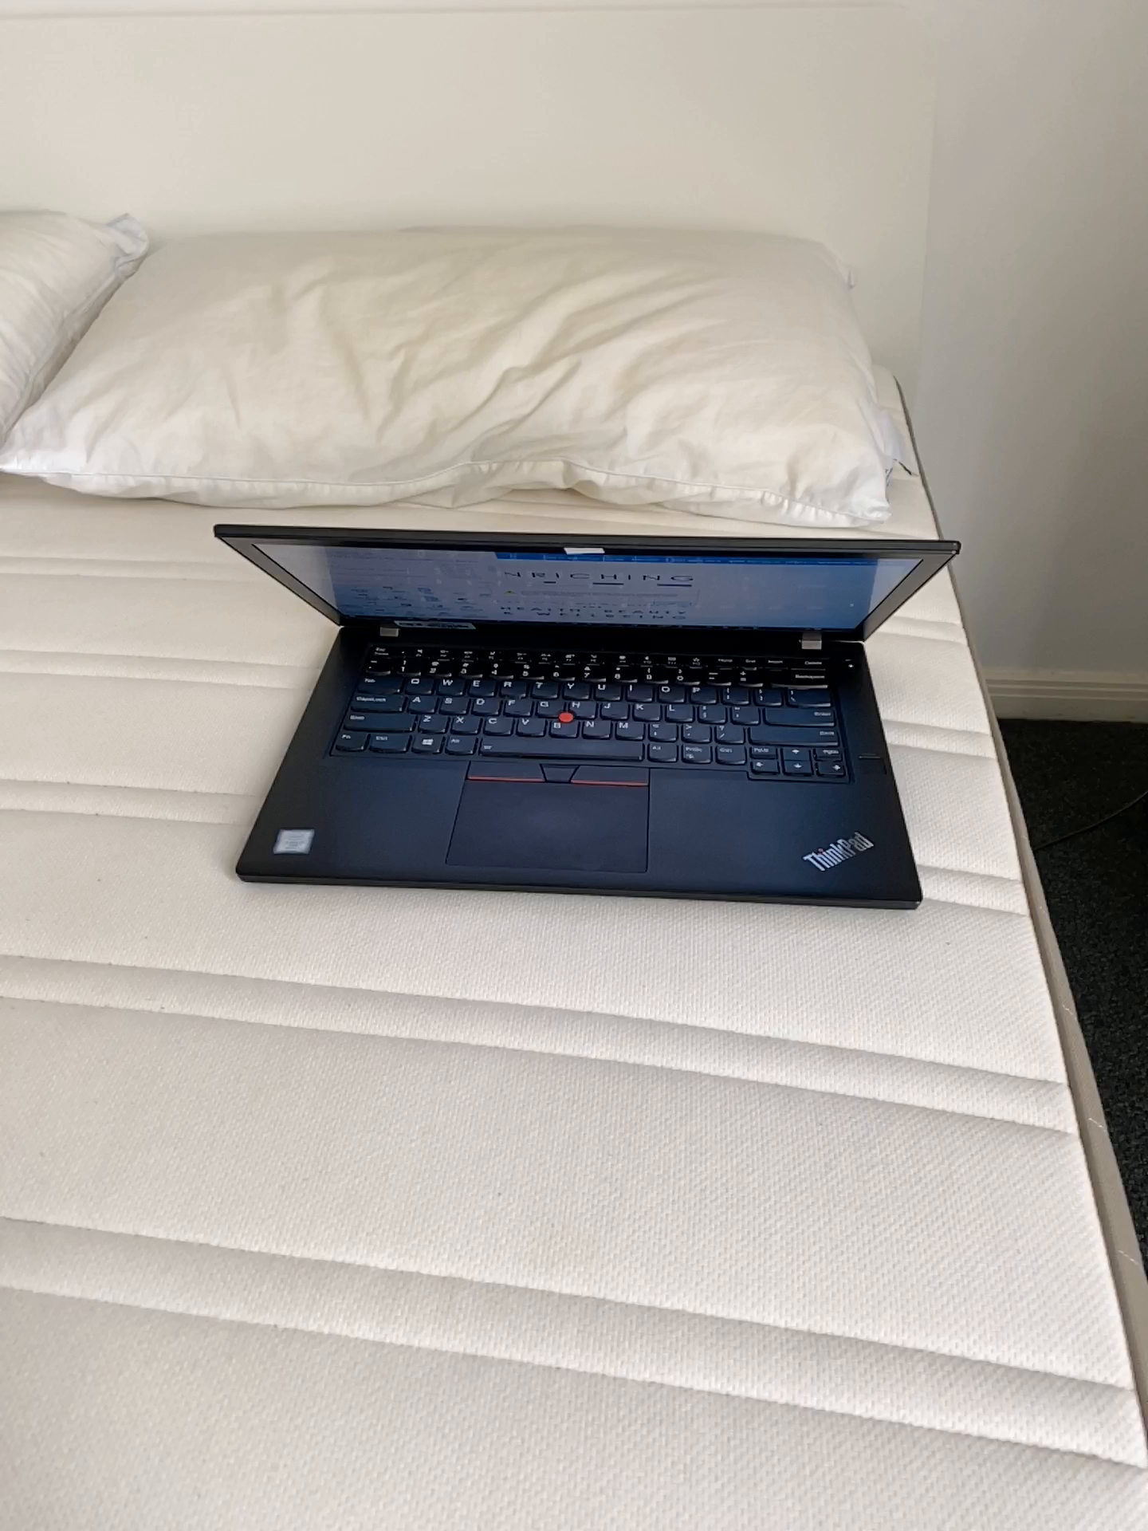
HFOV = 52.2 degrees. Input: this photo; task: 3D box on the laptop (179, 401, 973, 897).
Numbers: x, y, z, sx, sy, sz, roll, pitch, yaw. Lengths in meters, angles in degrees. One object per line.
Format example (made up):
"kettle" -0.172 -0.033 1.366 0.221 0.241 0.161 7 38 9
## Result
"laptop" 0.008 -0.070 0.608 0.324 0.150 0.221 1 39 3
